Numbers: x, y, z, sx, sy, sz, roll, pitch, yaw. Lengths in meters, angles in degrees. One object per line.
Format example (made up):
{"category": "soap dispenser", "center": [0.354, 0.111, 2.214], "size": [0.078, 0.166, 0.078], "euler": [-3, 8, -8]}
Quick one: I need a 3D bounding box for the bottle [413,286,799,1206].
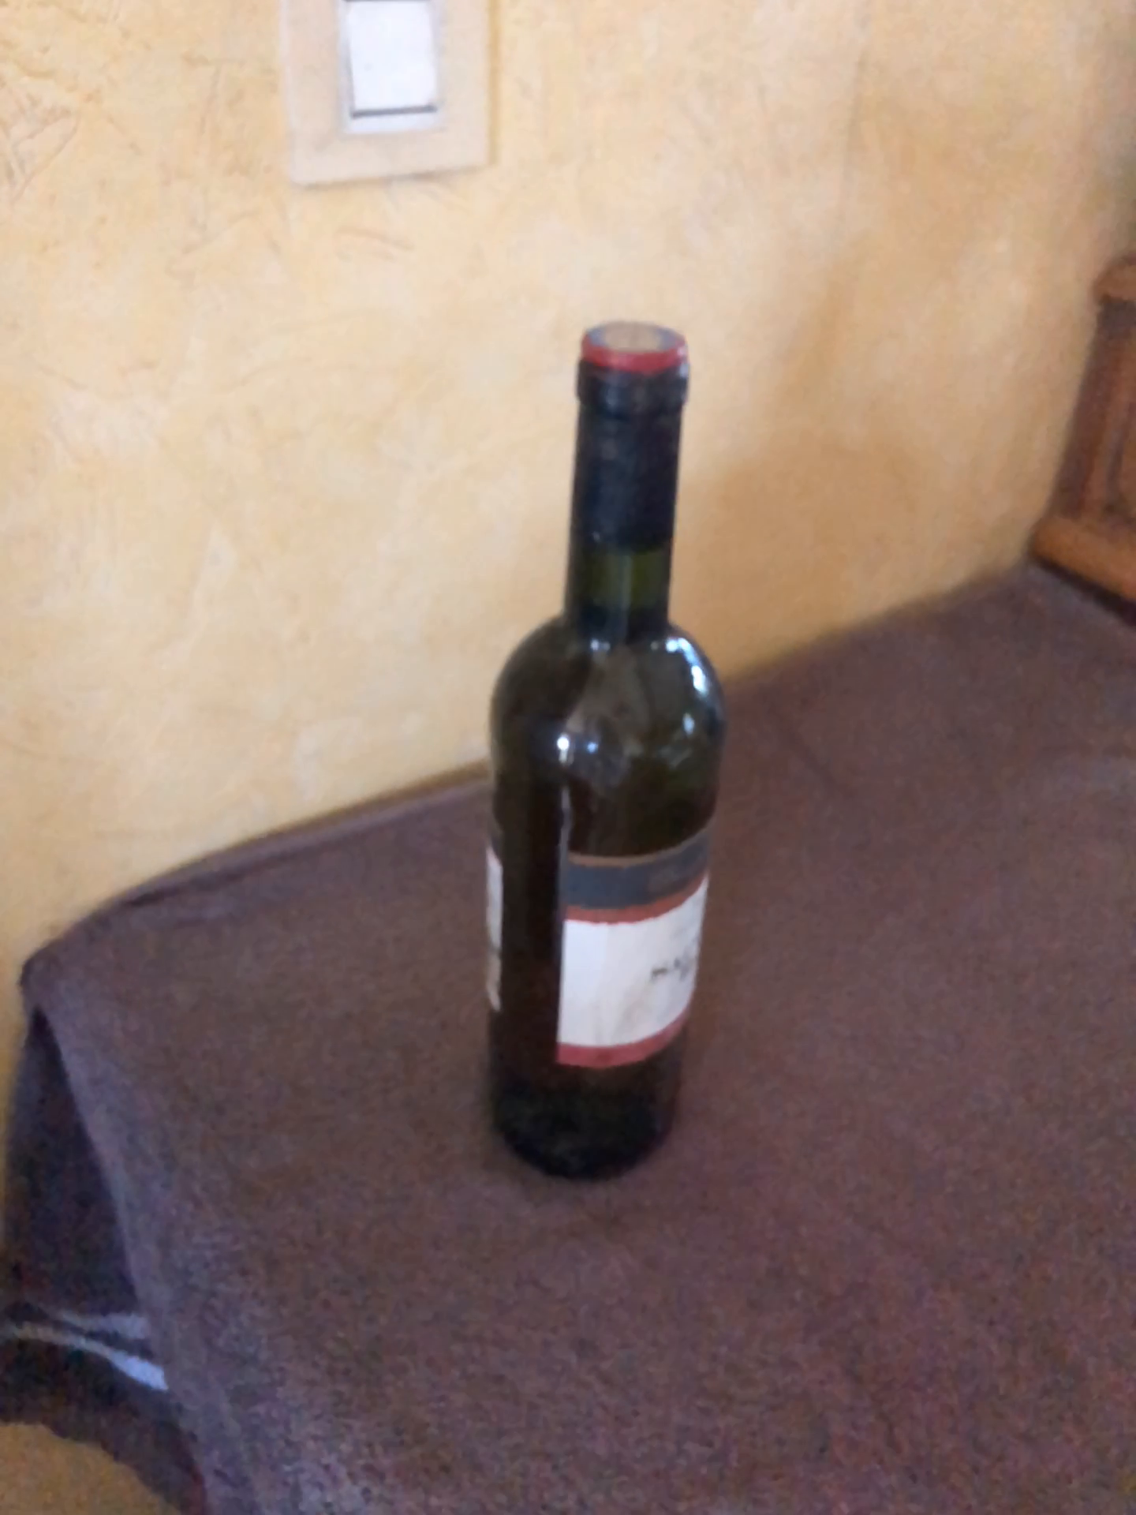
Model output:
{"category": "bottle", "center": [0.008, 0.012, 0.408], "size": [0.080, 0.288, 0.081], "euler": [2, 36, -1]}
